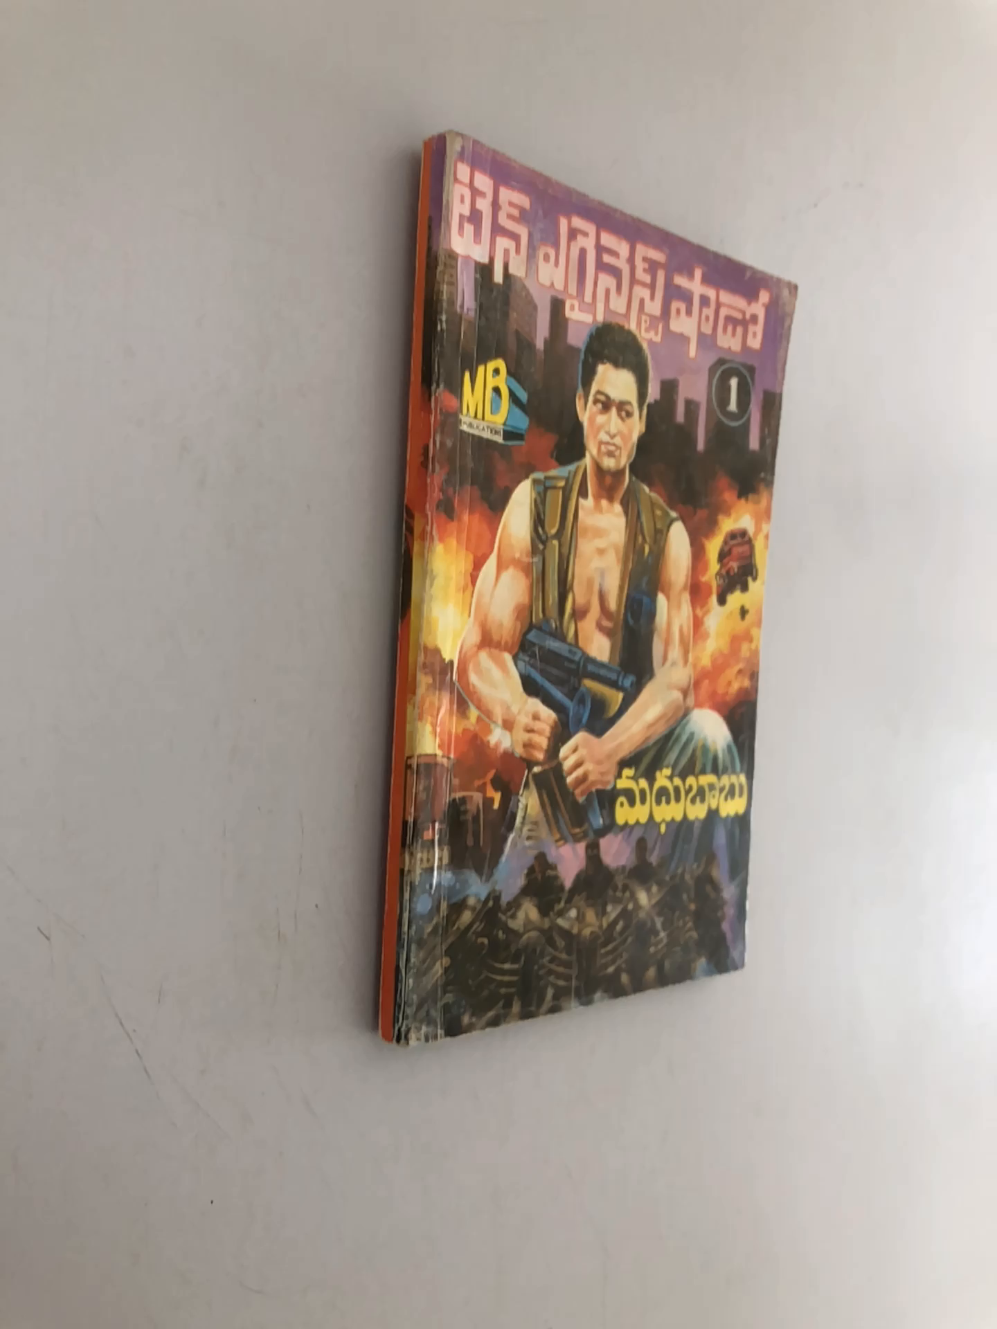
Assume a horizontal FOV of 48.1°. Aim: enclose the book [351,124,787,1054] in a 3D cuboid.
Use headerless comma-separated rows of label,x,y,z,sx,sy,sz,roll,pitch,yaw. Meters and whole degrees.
book,0.019,-0.011,0.218,0.100,0.010,0.151,2,90,-40
